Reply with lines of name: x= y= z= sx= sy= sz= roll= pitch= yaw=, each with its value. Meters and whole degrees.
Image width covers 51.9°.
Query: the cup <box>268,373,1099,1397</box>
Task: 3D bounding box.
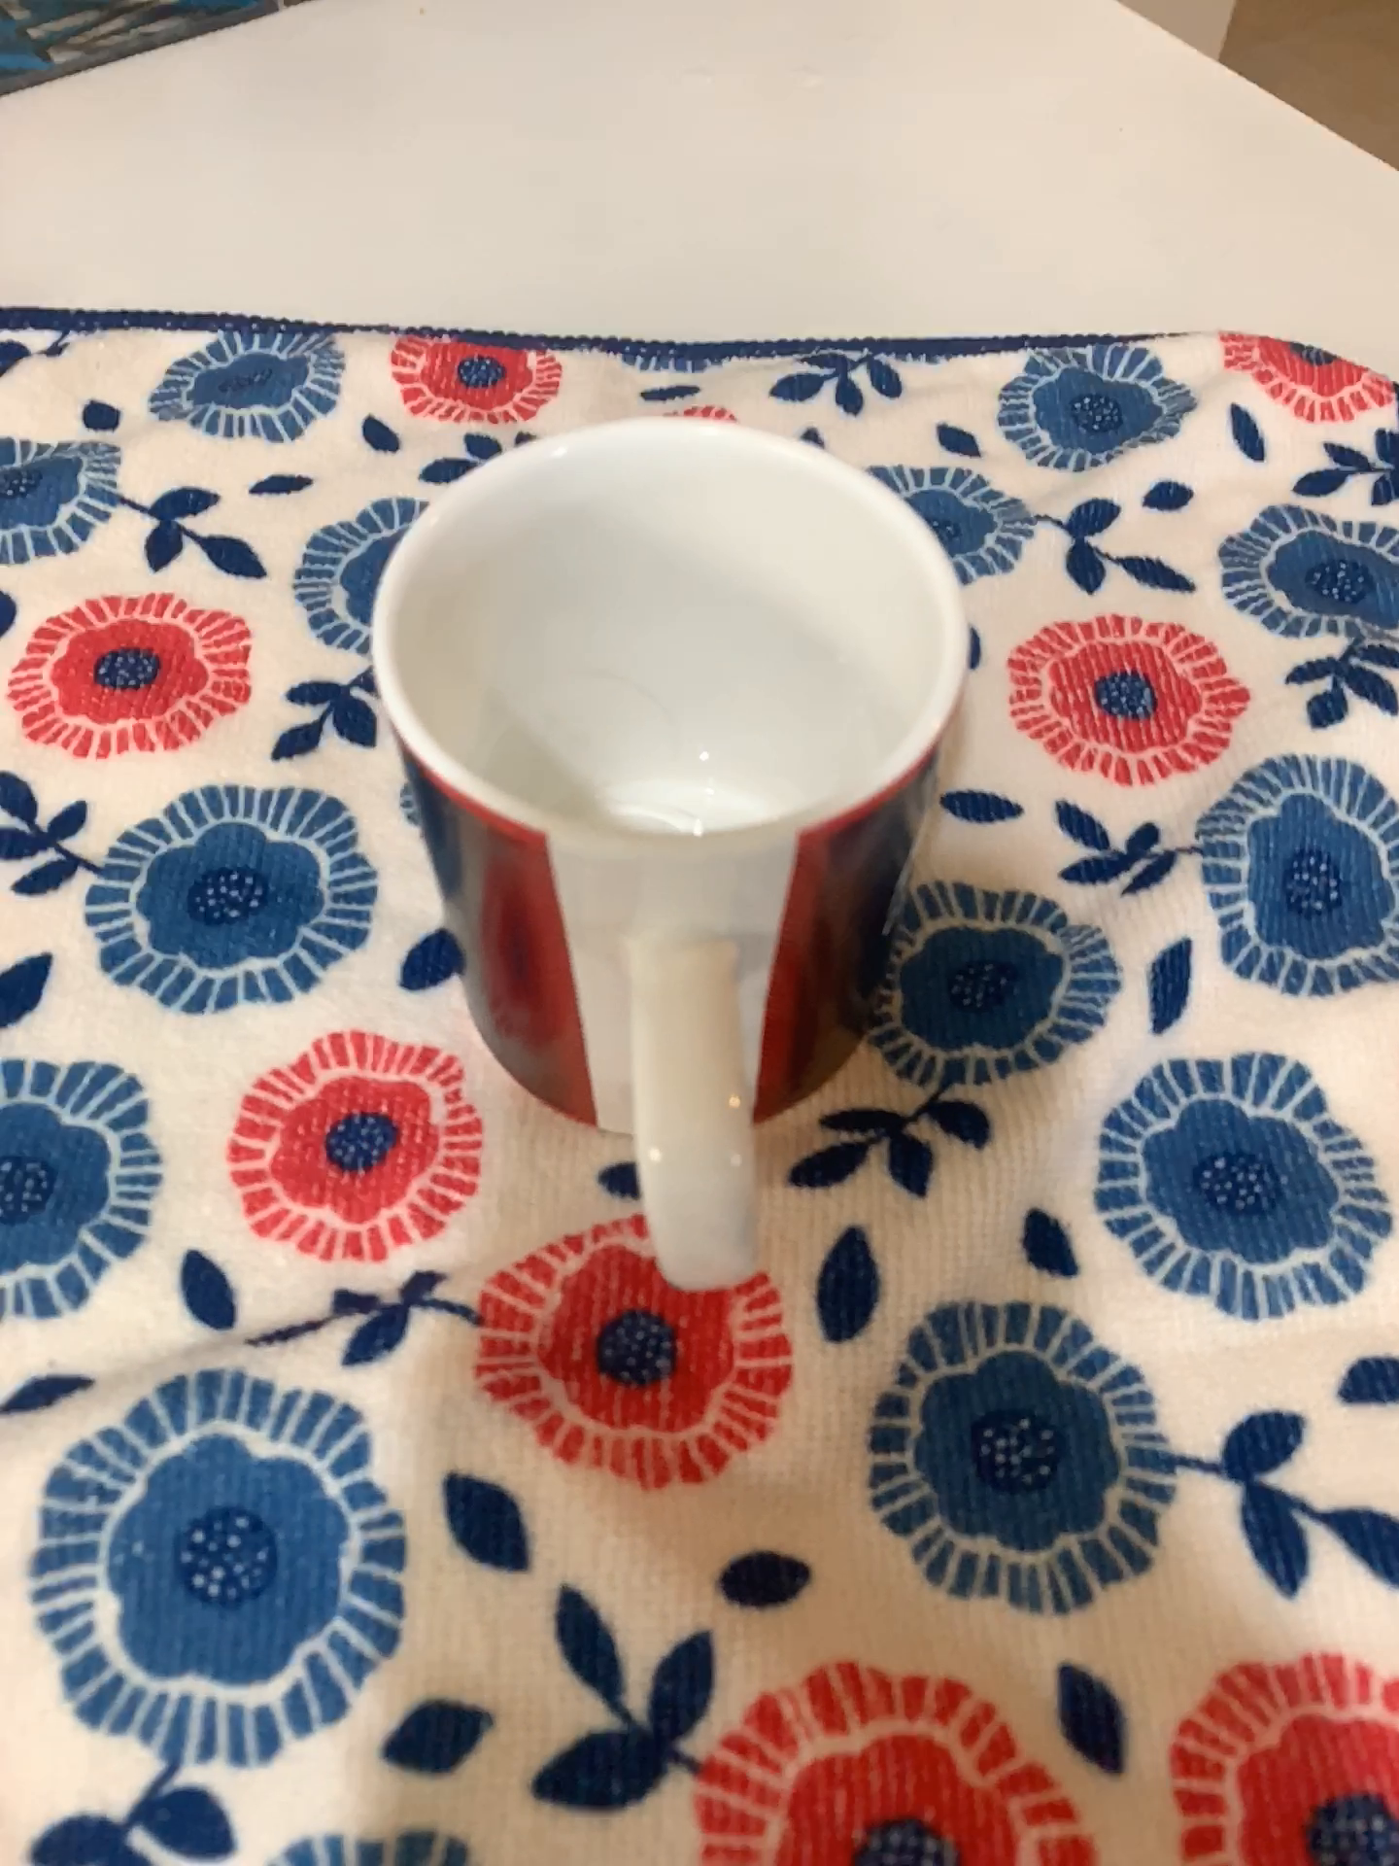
cup: x=-0.006 y=-0.005 z=0.206 sx=0.080 sy=0.089 sz=0.111 roll=-4 pitch=57 yaw=-3
